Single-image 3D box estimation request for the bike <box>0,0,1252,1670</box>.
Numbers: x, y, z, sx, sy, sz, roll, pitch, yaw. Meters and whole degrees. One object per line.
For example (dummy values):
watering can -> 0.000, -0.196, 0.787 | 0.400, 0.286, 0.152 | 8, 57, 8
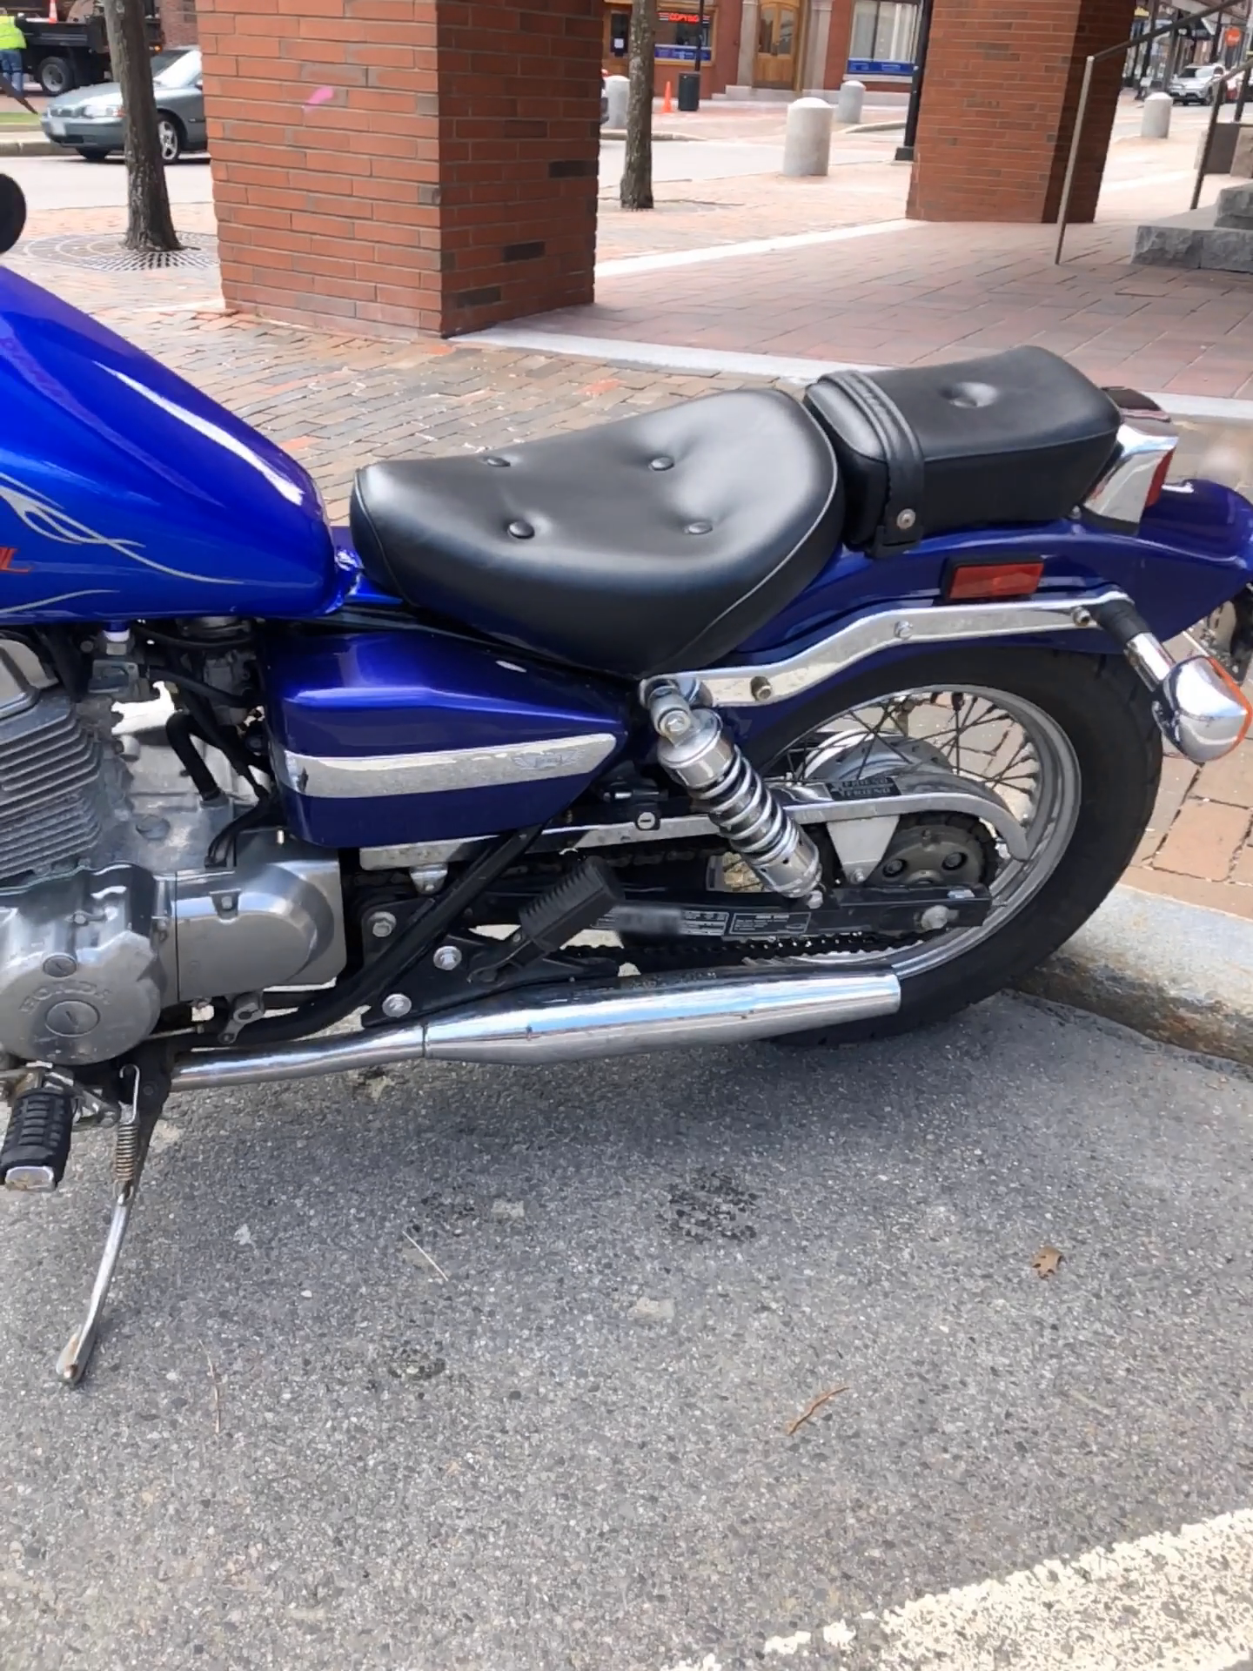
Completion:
bike -> -0.279, -0.078, 0.933 | 2.028, 1.178, 0.929 | -6, 30, -22
